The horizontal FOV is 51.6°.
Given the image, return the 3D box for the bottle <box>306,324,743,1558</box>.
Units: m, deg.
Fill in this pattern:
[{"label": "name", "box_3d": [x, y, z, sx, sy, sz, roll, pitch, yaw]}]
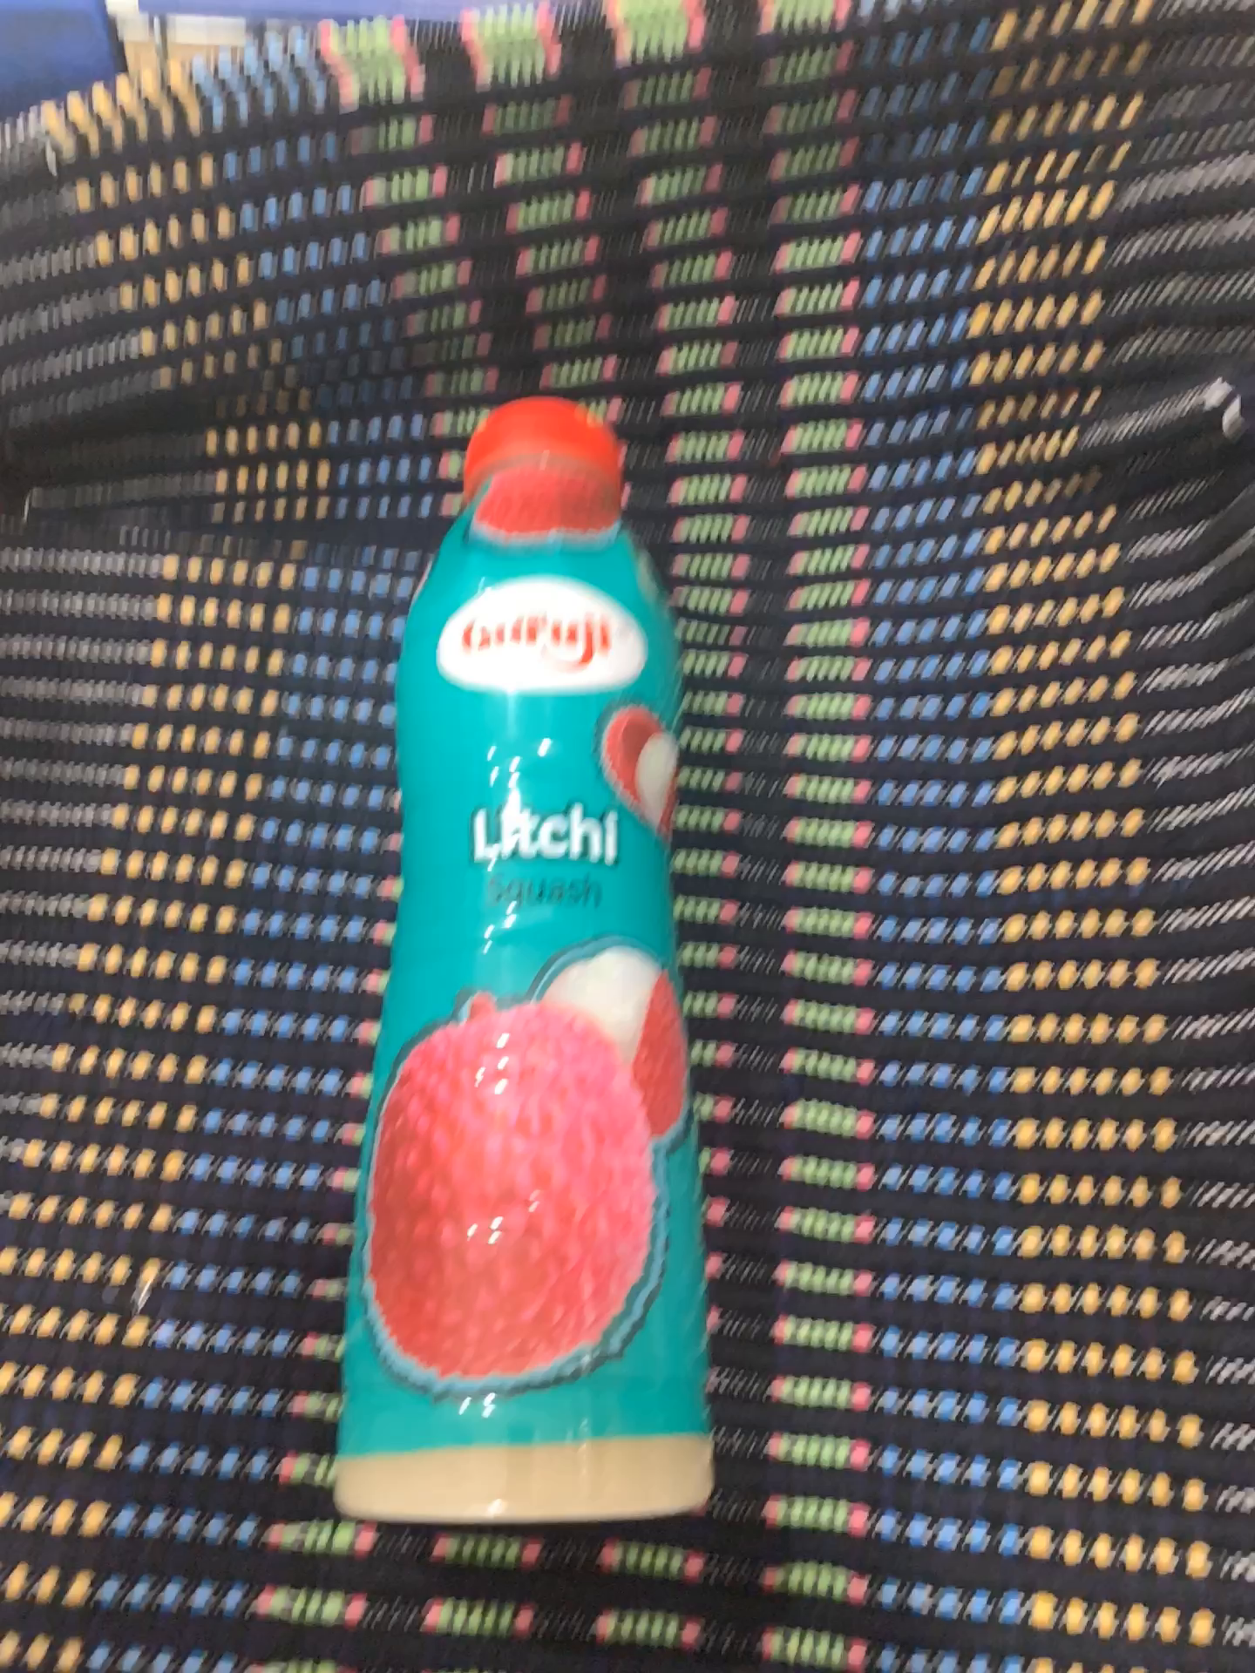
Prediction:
[{"label": "bottle", "box_3d": [-0.023, 0.010, 0.309, 0.070, 0.080, 0.280, 0, 62, -4]}]
